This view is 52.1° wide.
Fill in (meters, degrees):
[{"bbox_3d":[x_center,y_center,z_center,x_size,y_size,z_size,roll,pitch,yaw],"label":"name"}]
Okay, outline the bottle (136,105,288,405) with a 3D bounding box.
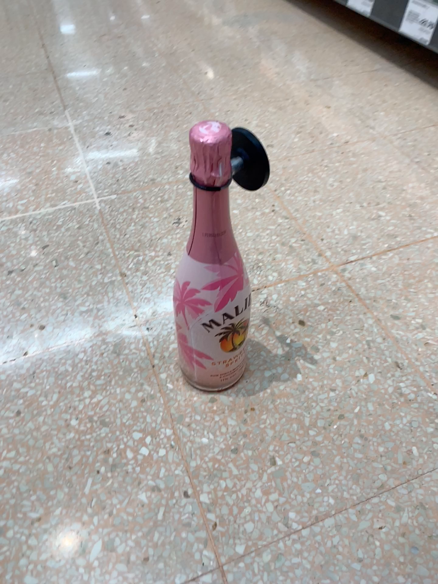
[{"bbox_3d":[-0.004,-0.014,0.432,0.080,0.286,0.080,0,47,0],"label":"bottle"}]
